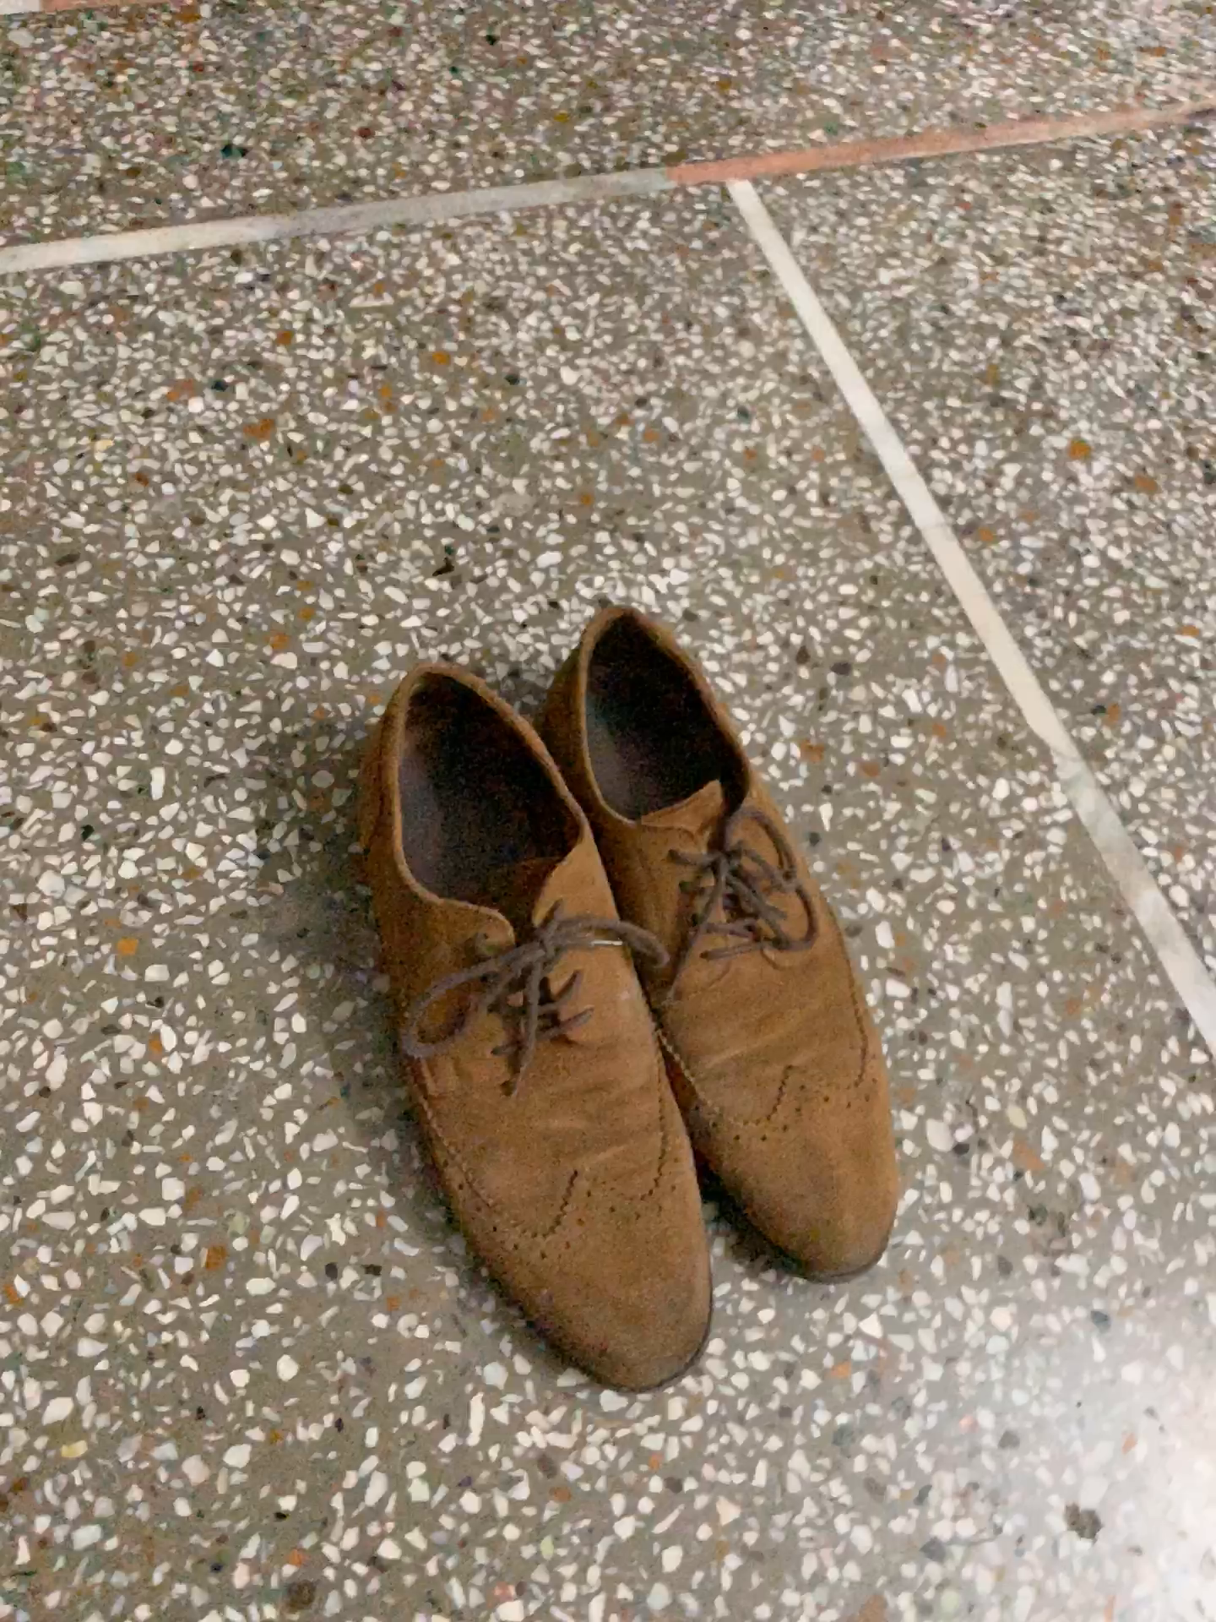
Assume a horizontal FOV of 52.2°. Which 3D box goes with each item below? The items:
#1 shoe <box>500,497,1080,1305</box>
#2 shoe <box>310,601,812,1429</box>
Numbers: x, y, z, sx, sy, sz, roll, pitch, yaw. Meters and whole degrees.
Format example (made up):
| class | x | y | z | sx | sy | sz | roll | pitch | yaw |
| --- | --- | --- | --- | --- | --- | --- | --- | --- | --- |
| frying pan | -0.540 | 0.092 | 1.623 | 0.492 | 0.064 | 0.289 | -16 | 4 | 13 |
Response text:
| class | x | y | z | sx | sy | sz | roll | pitch | yaw |
| --- | --- | --- | --- | --- | --- | --- | --- | --- | --- |
| shoe | 0.056 | 0.032 | 0.529 | 0.100 | 0.110 | 0.310 | -17 | 69 | -16 |
| shoe | -0.034 | 0.079 | 0.525 | 0.100 | 0.110 | 0.310 | -15 | 68 | -15 |
